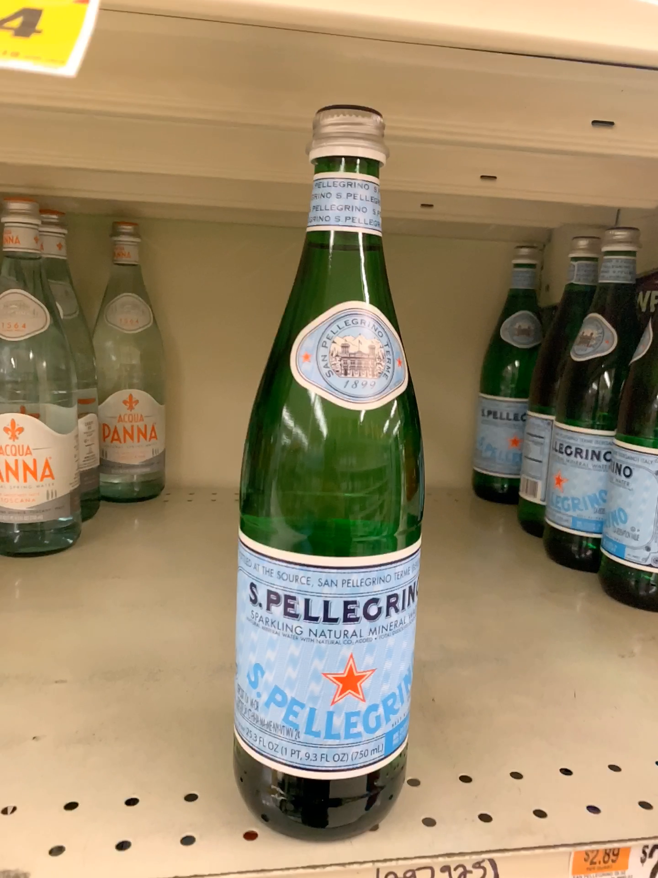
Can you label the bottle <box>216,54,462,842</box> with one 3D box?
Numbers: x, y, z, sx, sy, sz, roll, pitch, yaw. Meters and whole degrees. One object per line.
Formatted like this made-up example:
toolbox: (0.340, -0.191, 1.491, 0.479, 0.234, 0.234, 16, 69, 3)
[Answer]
bottle: (-0.003, 0.015, 0.287, 0.078, 0.301, 0.065, 2, 12, -3)
